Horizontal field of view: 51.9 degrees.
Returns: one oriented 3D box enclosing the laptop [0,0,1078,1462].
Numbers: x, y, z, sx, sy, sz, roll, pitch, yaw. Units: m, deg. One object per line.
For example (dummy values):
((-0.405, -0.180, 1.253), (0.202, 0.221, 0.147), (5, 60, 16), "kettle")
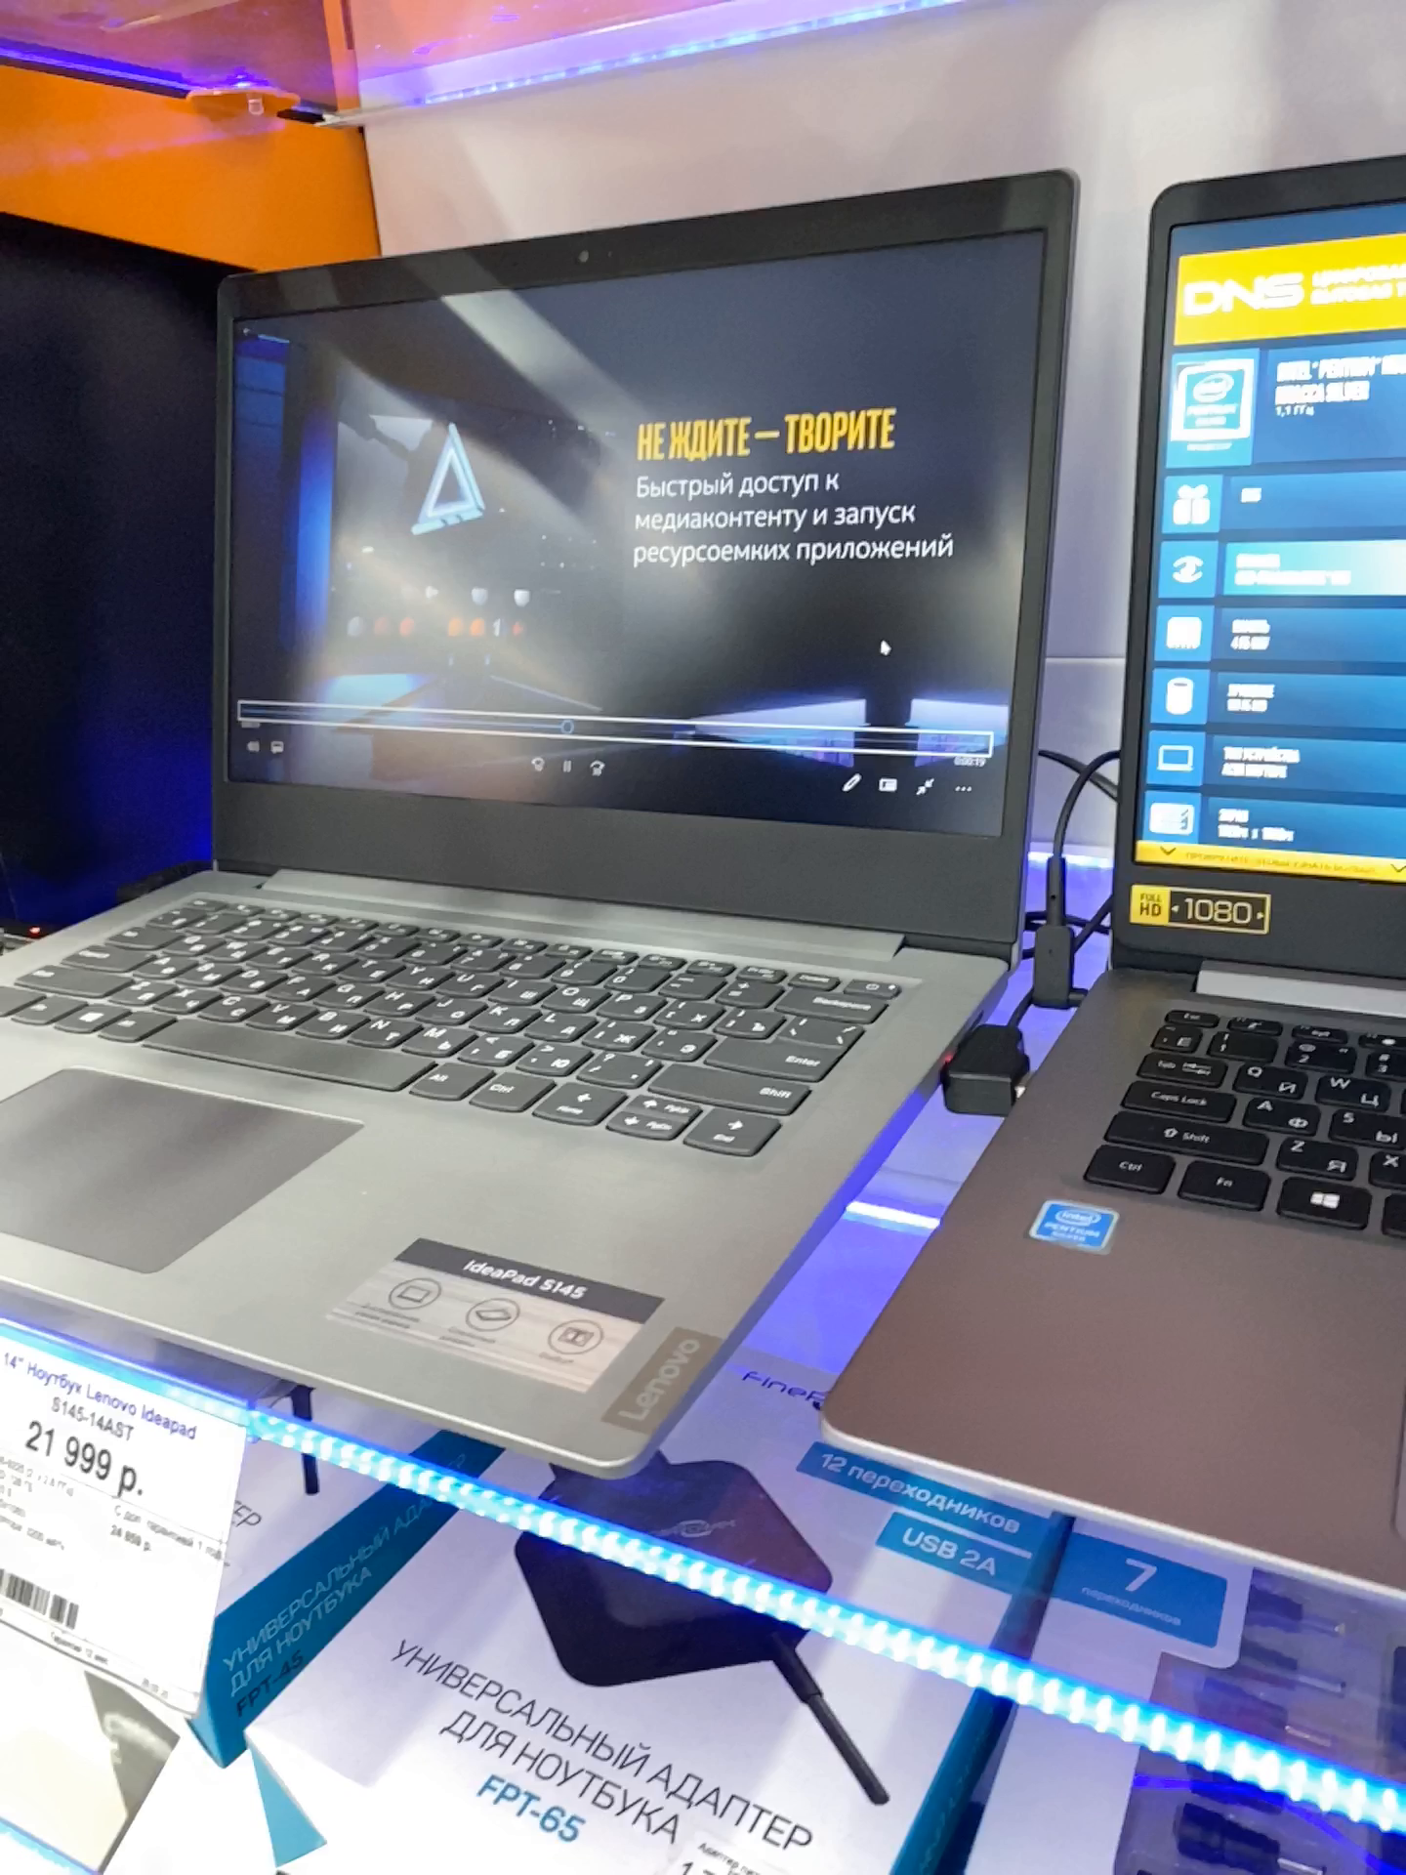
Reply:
((-0.097, -0.083, 0.396), (0.327, 0.215, 0.303), (6, 23, 26), "laptop")
